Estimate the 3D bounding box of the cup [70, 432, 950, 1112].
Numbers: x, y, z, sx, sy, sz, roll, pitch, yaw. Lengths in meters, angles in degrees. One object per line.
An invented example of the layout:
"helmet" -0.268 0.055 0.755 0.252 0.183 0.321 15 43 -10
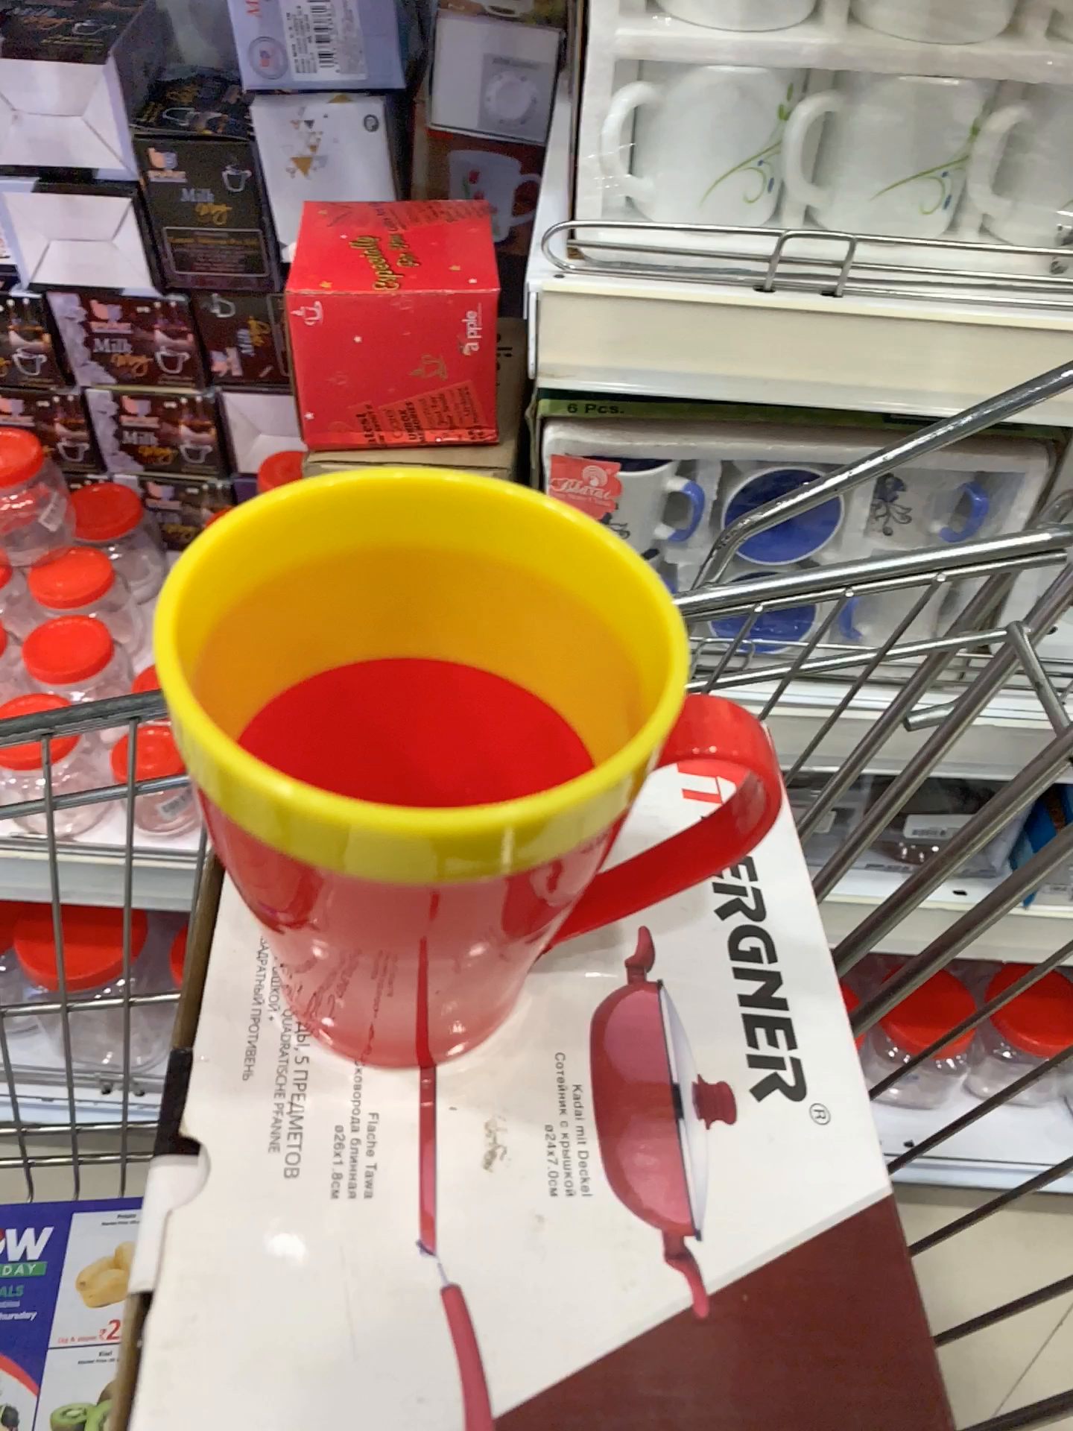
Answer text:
"cup" -0.006 0.012 0.194 0.110 0.080 0.080 4 46 -4
